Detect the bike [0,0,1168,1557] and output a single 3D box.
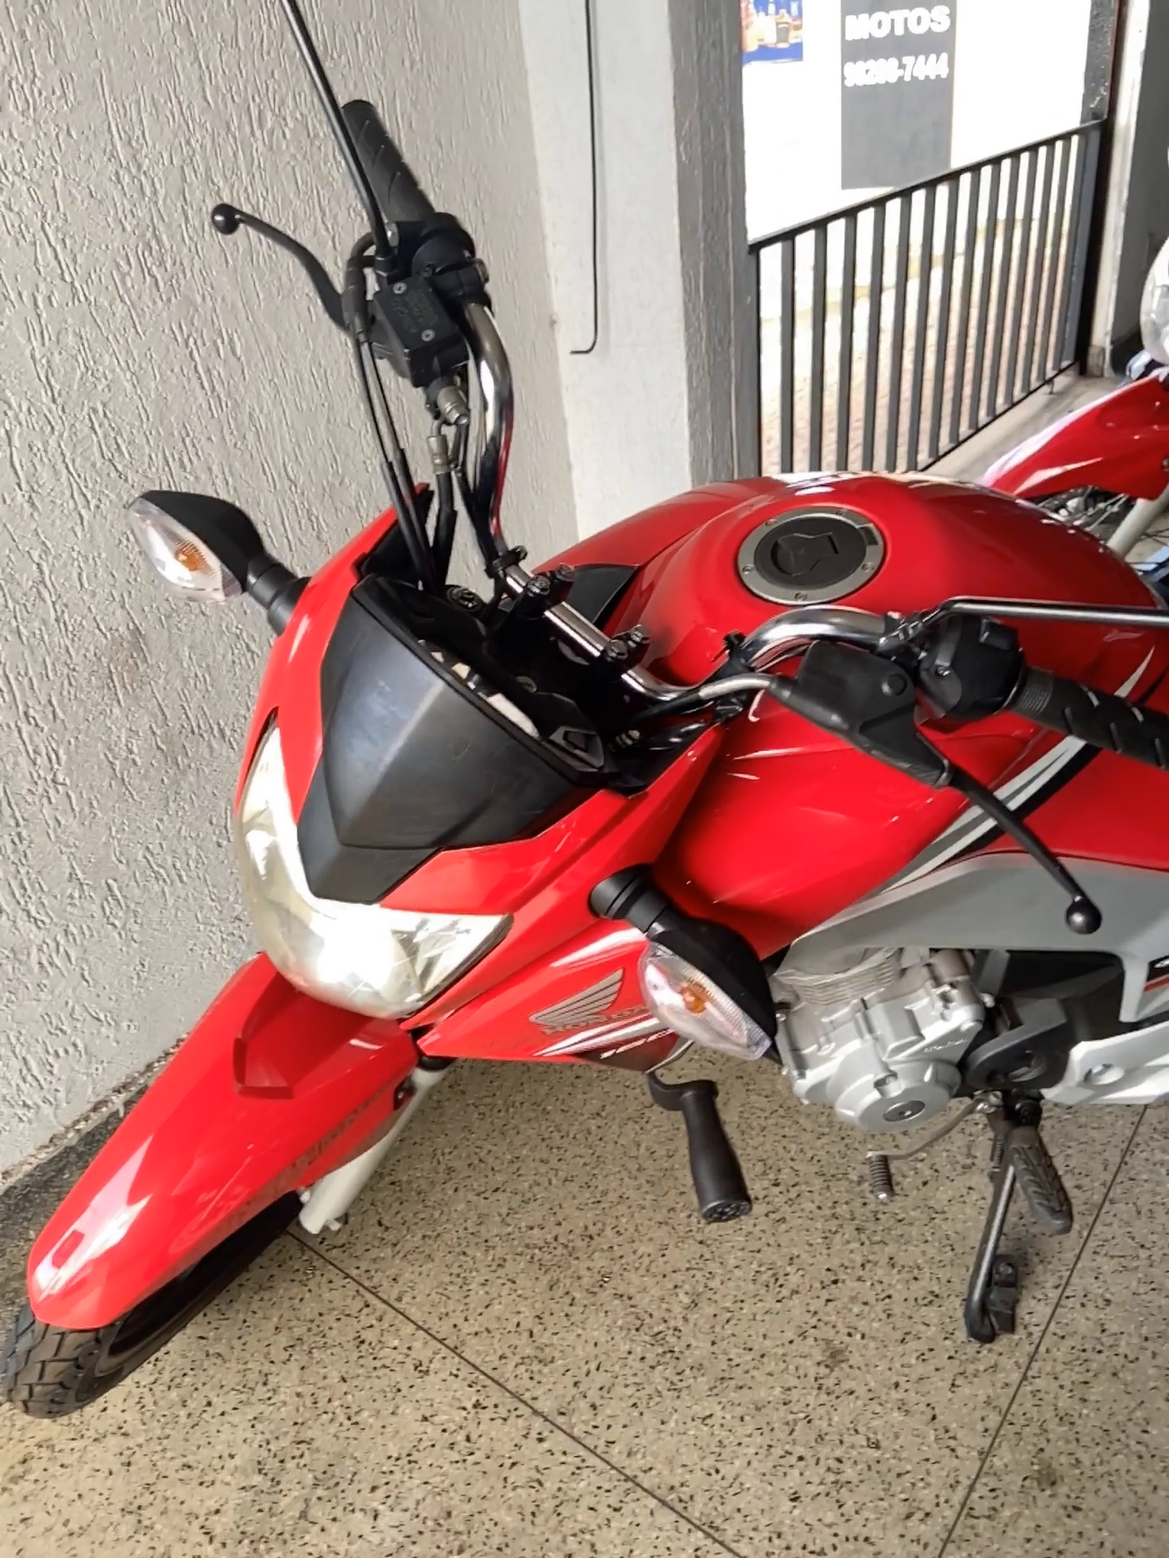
[{"bbox_3d":[0.383,0.199,1.090,1.991,1.421,0.872,-15,32,-9],"label":"bike"}]
